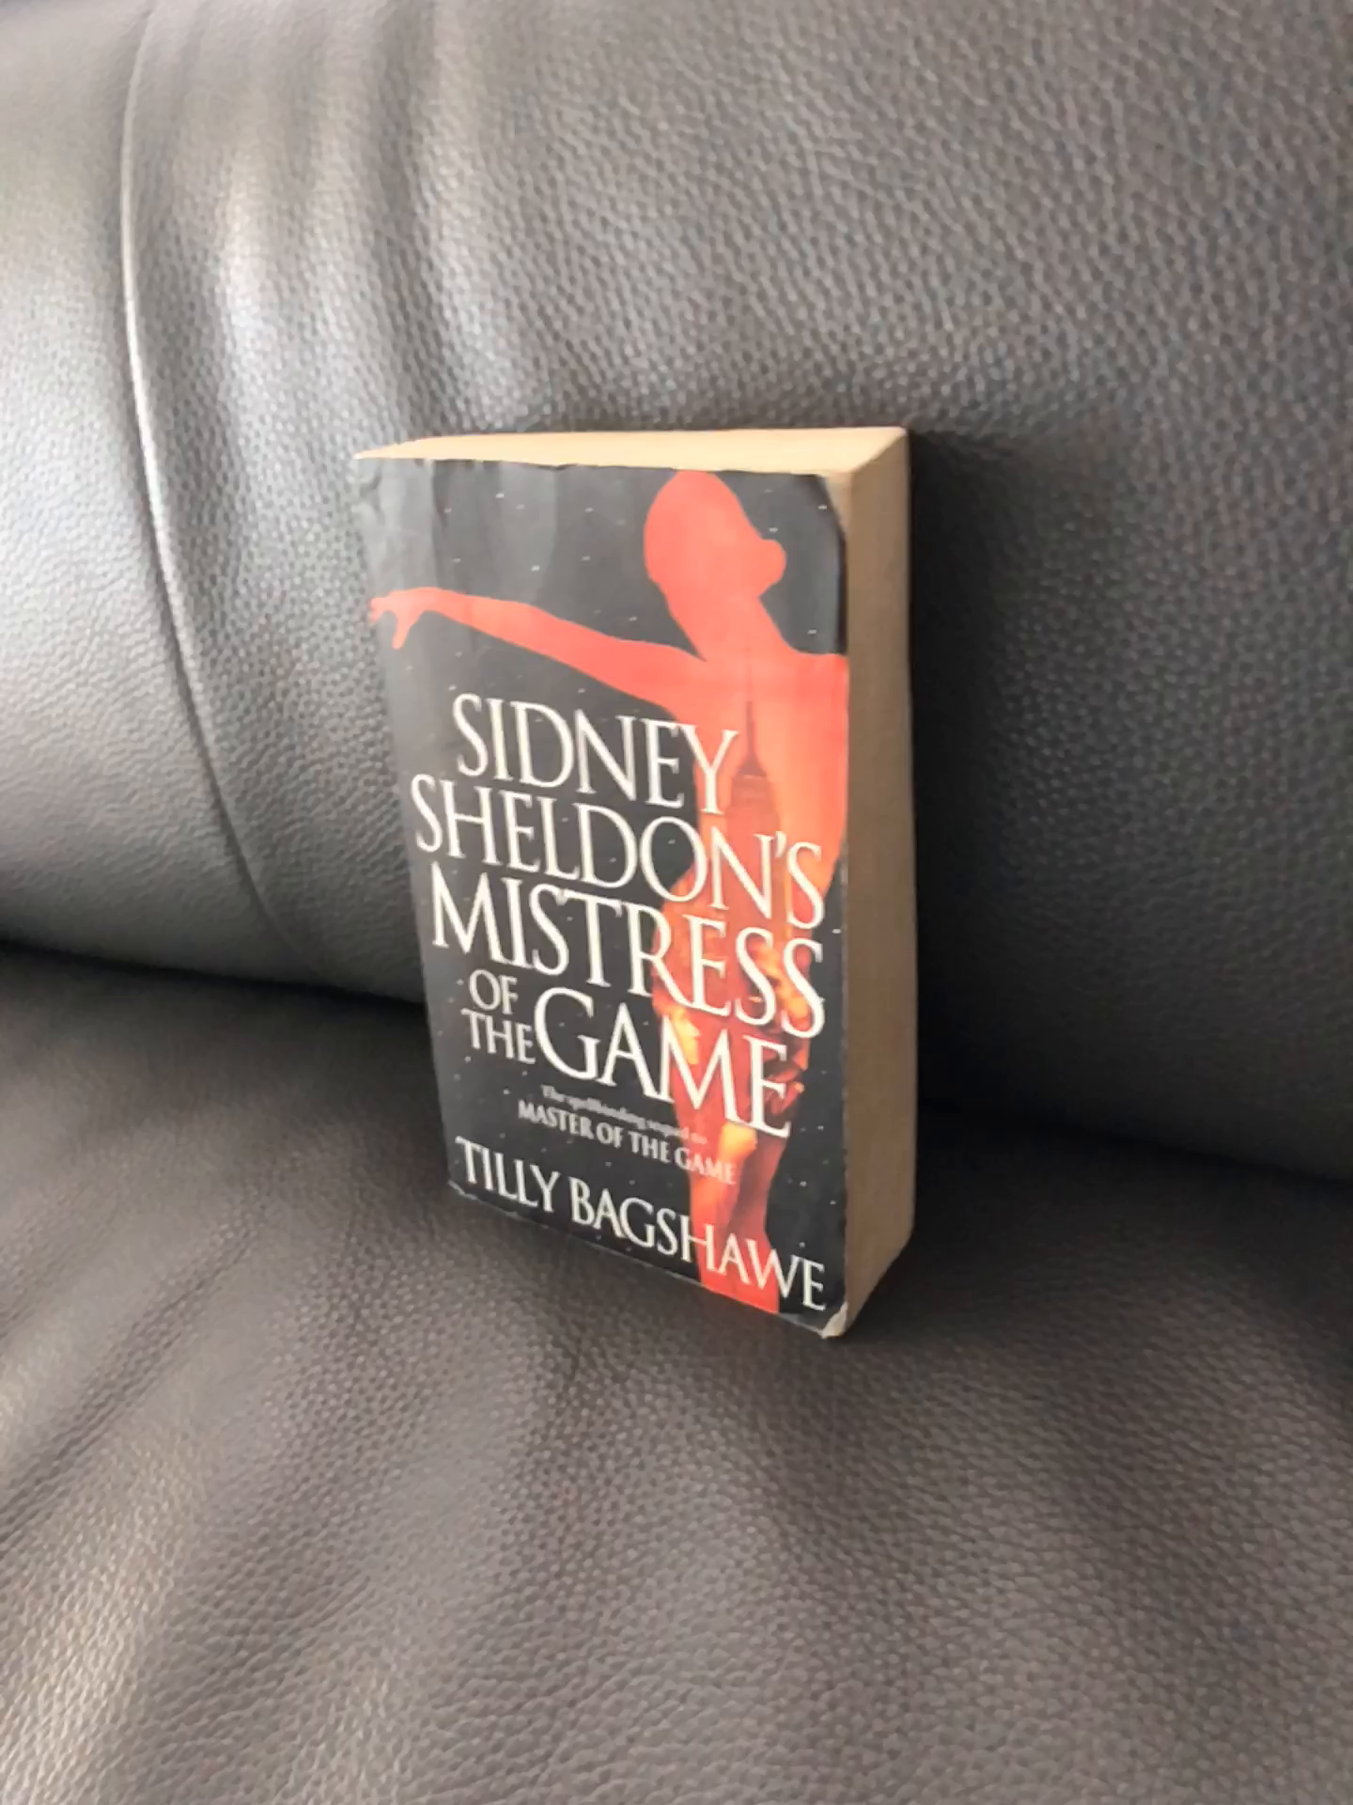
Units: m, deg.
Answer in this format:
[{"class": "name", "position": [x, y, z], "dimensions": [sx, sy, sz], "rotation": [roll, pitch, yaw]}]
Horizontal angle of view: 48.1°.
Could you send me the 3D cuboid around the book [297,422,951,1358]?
[{"class": "book", "position": [-0.007, -0.006, 0.325], "dimensions": [0.119, 0.179, 0.046], "rotation": [12, 29, 33]}]
